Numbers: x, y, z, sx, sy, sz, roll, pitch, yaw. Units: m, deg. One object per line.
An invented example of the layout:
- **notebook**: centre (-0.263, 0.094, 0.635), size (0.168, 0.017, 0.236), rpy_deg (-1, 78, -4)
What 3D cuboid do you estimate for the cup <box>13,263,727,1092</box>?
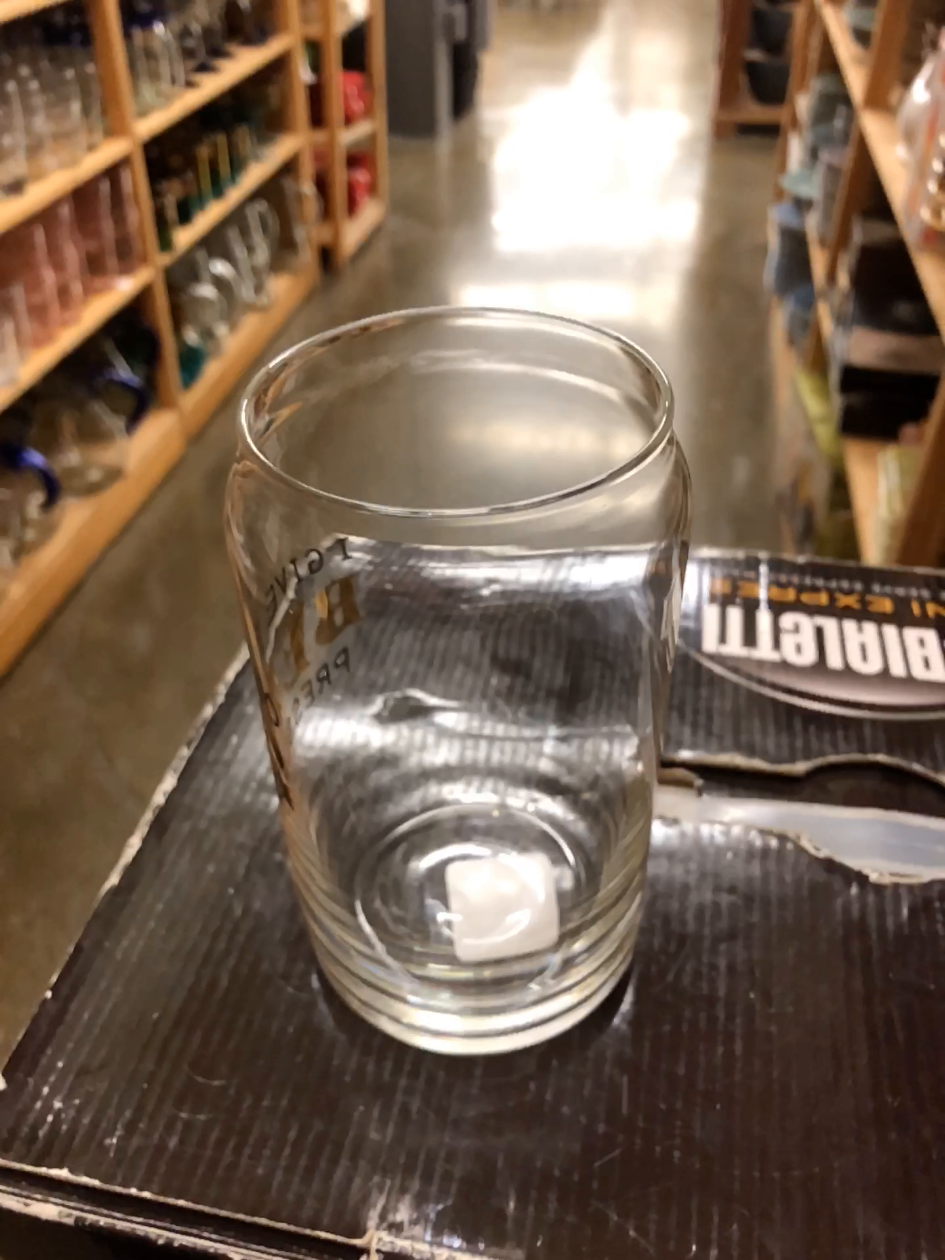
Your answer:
- **cup**: centre (-0.007, 0.008, 0.195), size (0.087, 0.116, 0.081), rpy_deg (0, 39, 0)
